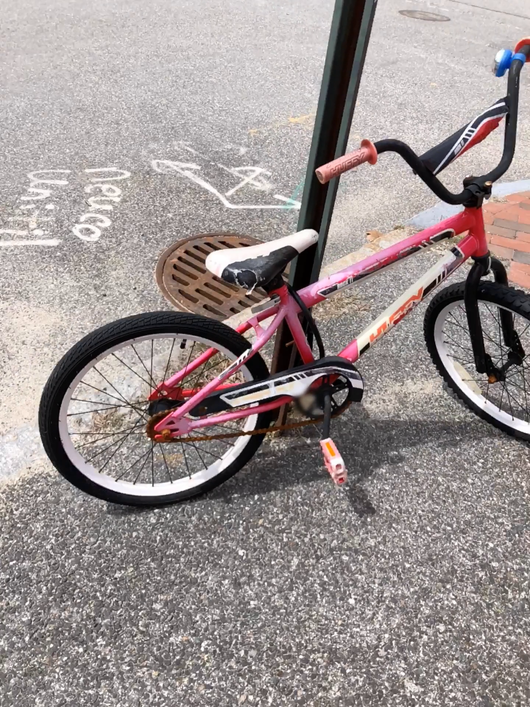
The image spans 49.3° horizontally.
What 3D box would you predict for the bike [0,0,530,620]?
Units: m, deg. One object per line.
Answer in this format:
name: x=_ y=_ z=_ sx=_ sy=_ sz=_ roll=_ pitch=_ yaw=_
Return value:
bike: x=0.170 y=-0.079 z=1.072 sx=1.176 sy=0.887 sz=0.699 roll=-3 pitch=44 yaw=-11
